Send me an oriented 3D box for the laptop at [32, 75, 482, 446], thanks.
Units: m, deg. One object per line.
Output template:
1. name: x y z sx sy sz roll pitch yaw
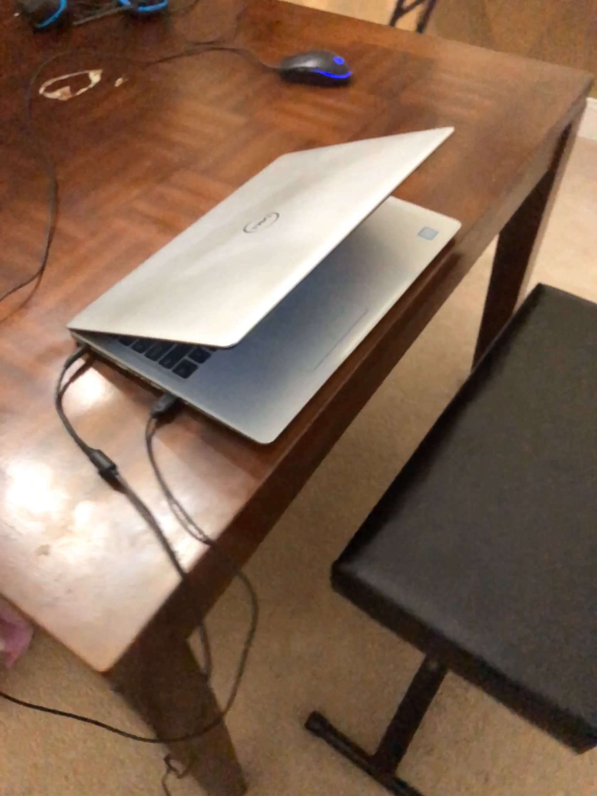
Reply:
1. laptop: -0.022 -0.165 0.665 0.249 0.103 0.369 29 57 21
